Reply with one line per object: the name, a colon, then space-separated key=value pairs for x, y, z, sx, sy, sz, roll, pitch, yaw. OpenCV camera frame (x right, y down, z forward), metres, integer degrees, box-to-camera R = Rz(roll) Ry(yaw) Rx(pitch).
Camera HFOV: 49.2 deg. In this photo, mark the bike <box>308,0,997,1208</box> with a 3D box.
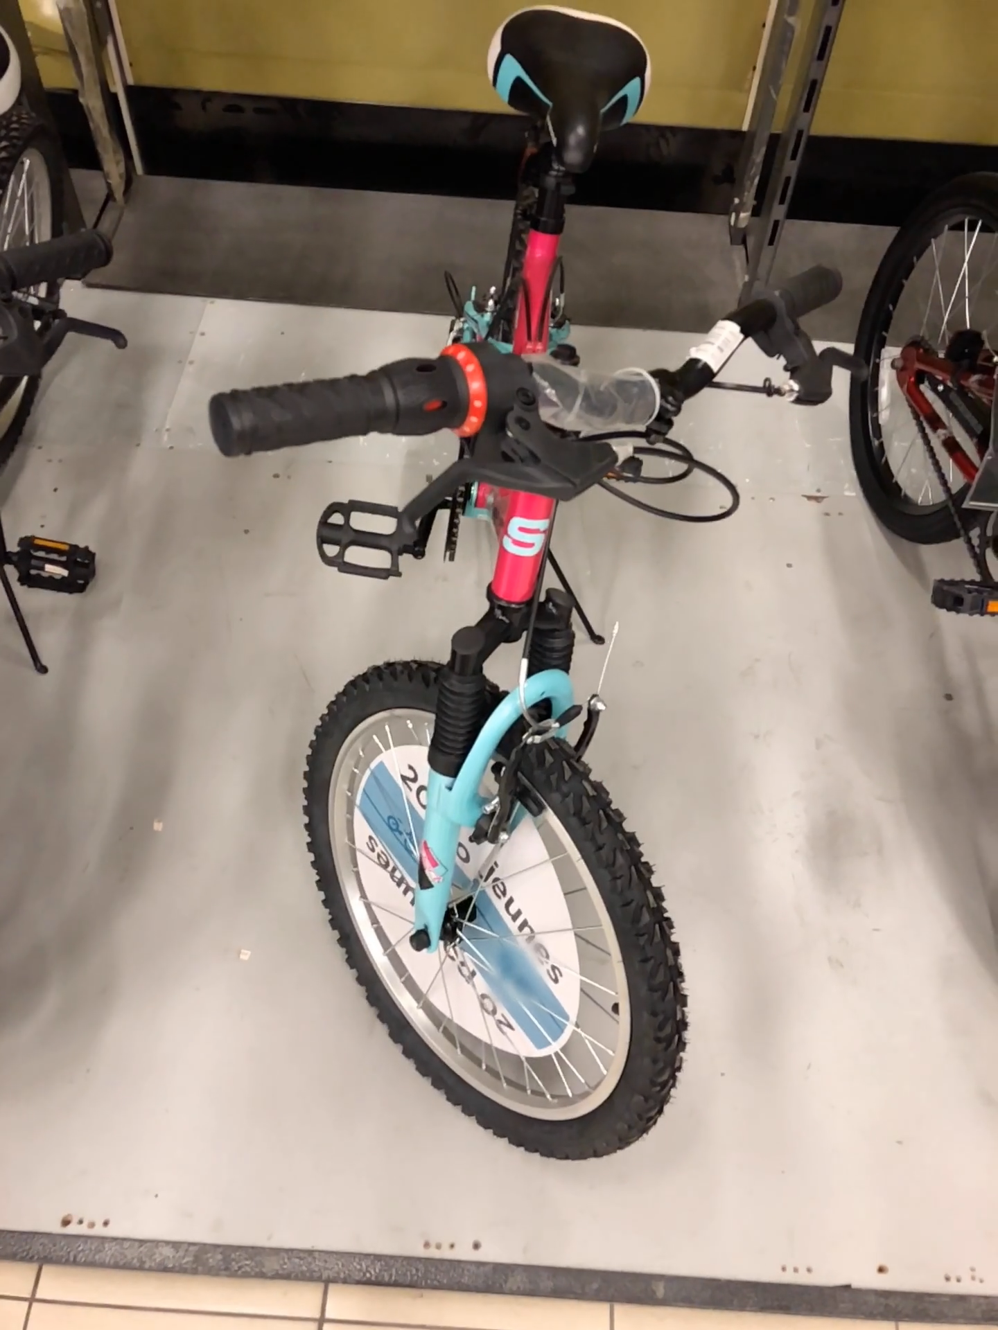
bike: x=0.136 y=-0.192 z=1.123 sx=0.562 sy=0.765 sz=1.219 roll=-2 pitch=58 yaw=-4
